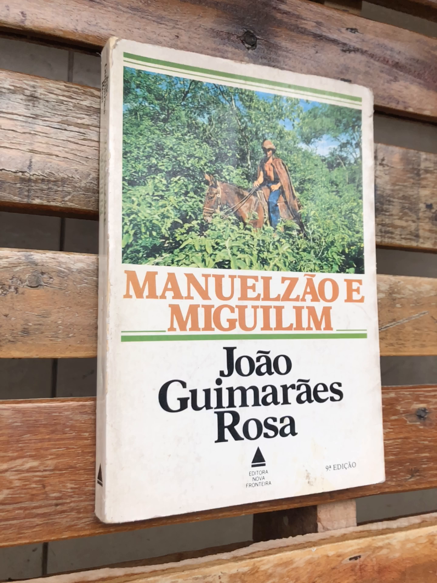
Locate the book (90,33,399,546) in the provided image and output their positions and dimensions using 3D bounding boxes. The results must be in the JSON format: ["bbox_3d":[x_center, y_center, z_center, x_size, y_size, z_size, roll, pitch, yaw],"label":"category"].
[{"bbox_3d":[0.014,-0.004,0.225,0.141,0.020,0.200,1,85,-22],"label":"book"}]
